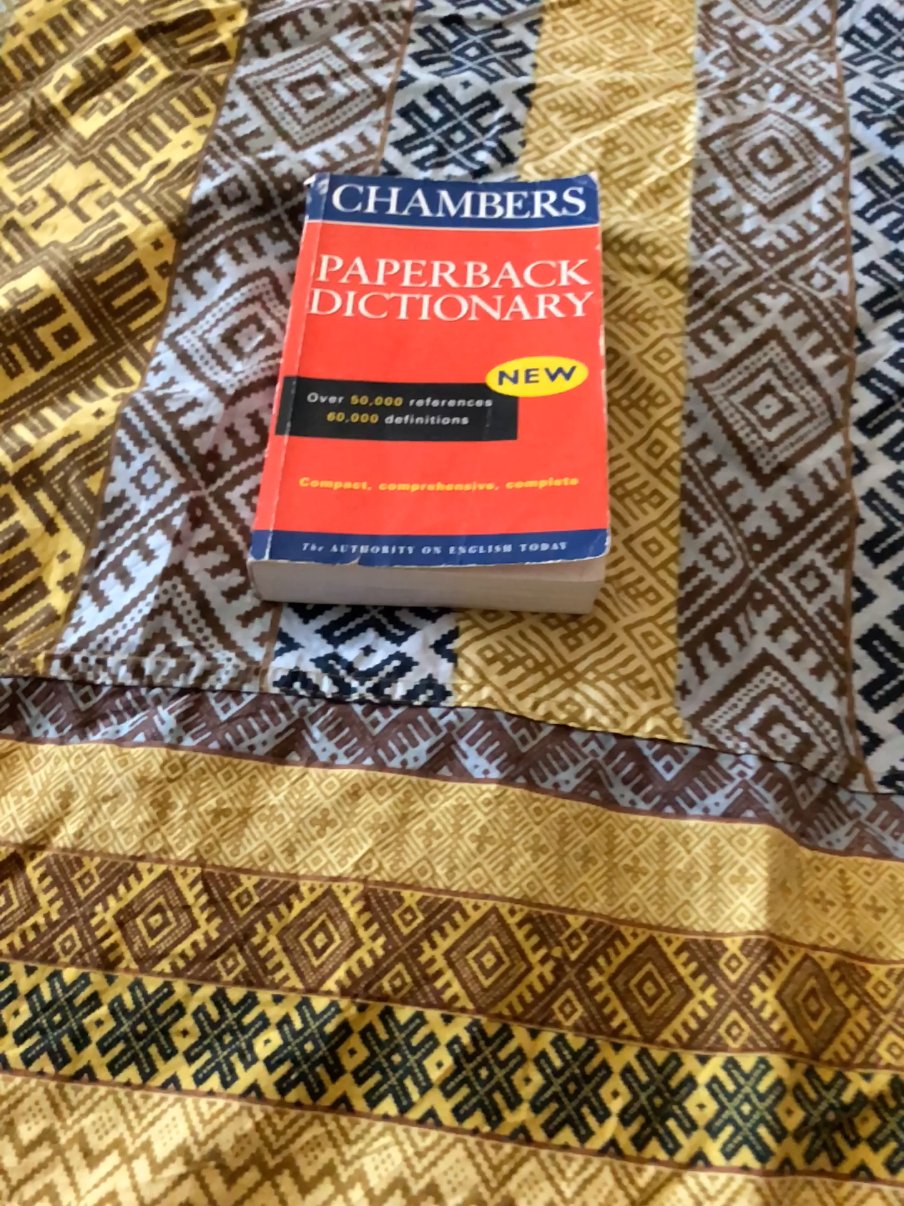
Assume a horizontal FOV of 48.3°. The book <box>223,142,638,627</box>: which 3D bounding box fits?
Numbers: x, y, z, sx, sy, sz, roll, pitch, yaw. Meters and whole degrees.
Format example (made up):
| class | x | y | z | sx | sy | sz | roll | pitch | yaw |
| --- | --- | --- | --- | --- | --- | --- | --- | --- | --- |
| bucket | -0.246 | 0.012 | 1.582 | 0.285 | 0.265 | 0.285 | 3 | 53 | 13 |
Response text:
| class | x | y | z | sx | sy | sz | roll | pitch | yaw |
| --- | --- | --- | --- | --- | --- | --- | --- | --- | --- |
| book | -0.004 | -0.078 | 0.338 | 0.117 | 0.044 | 0.166 | 1 | 64 | 1 |
